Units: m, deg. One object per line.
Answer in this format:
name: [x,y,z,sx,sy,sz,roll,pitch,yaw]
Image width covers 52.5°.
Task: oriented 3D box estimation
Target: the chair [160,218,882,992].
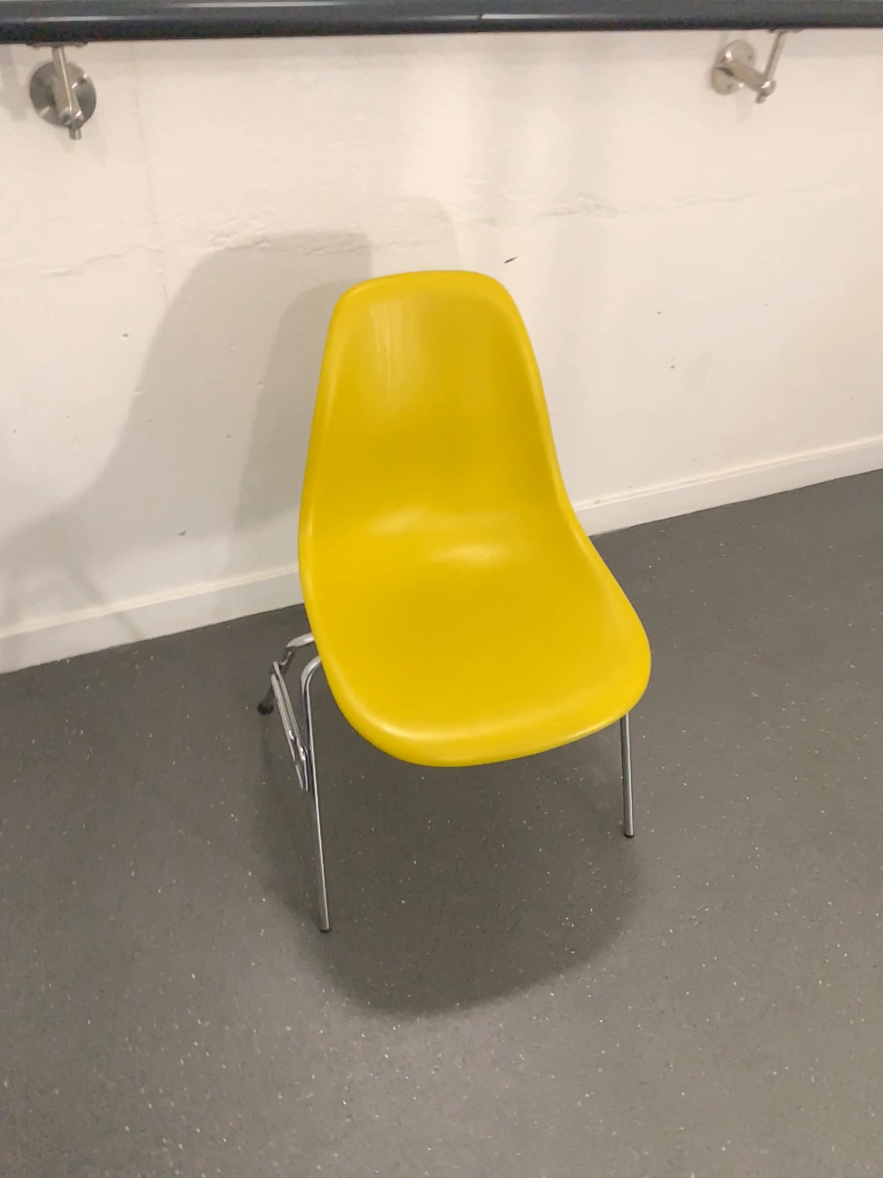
chair: [0.032,0.027,1.257,0.631,0.822,0.544,-13,48,-19]
